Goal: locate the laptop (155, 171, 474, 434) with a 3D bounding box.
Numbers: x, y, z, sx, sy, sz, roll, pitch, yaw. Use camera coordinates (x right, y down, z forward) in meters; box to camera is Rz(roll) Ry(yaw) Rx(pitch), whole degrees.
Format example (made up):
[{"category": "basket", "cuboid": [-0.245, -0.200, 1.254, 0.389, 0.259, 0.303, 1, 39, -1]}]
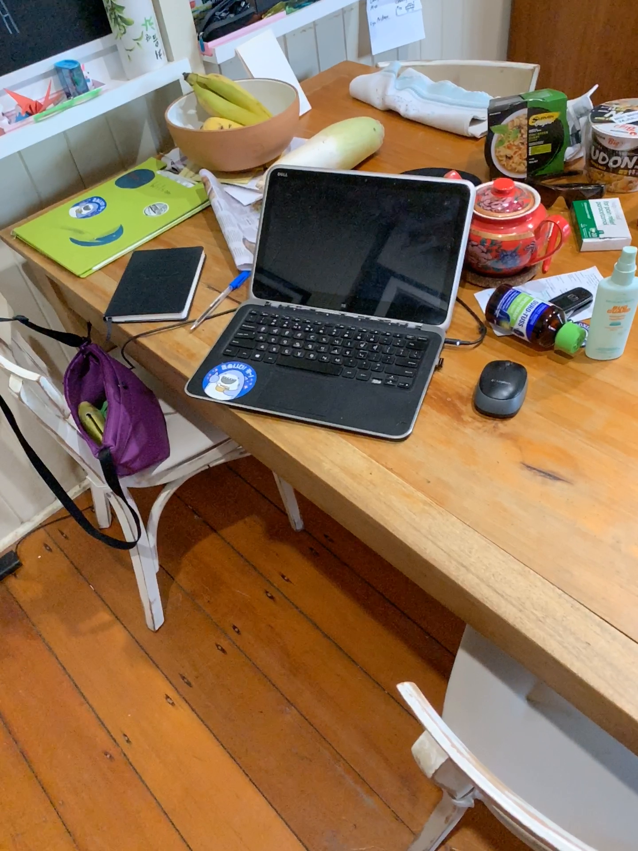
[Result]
[{"category": "laptop", "cuboid": [0.016, -0.185, 0.879, 0.303, 0.139, 0.340, 11, 51, 18]}]
